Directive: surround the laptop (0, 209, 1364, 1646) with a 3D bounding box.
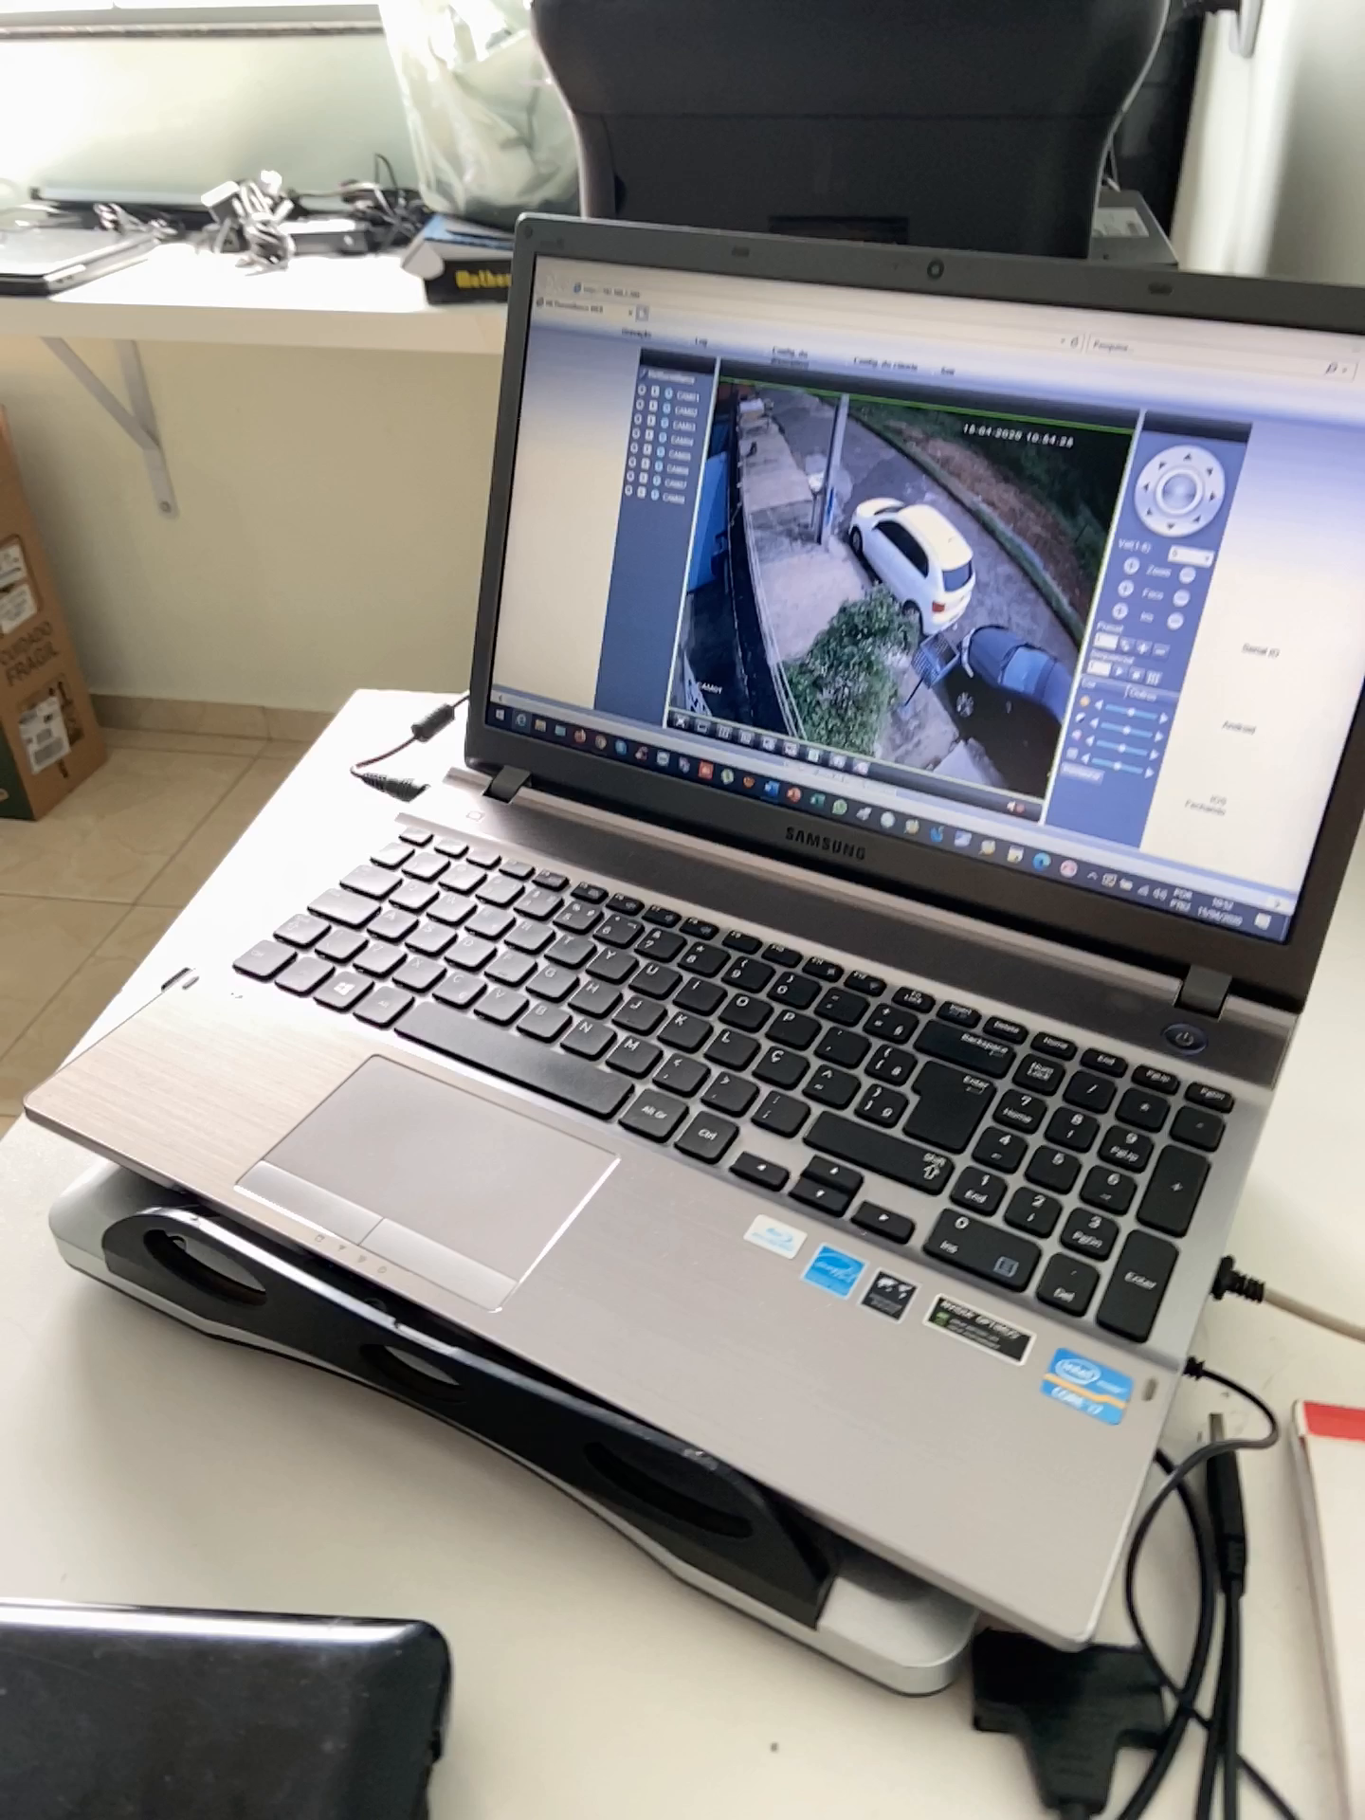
[{"bbox_3d":[0.017,-0.062,0.450,0.367,0.213,0.336,18,41,25],"label":"laptop"}]
